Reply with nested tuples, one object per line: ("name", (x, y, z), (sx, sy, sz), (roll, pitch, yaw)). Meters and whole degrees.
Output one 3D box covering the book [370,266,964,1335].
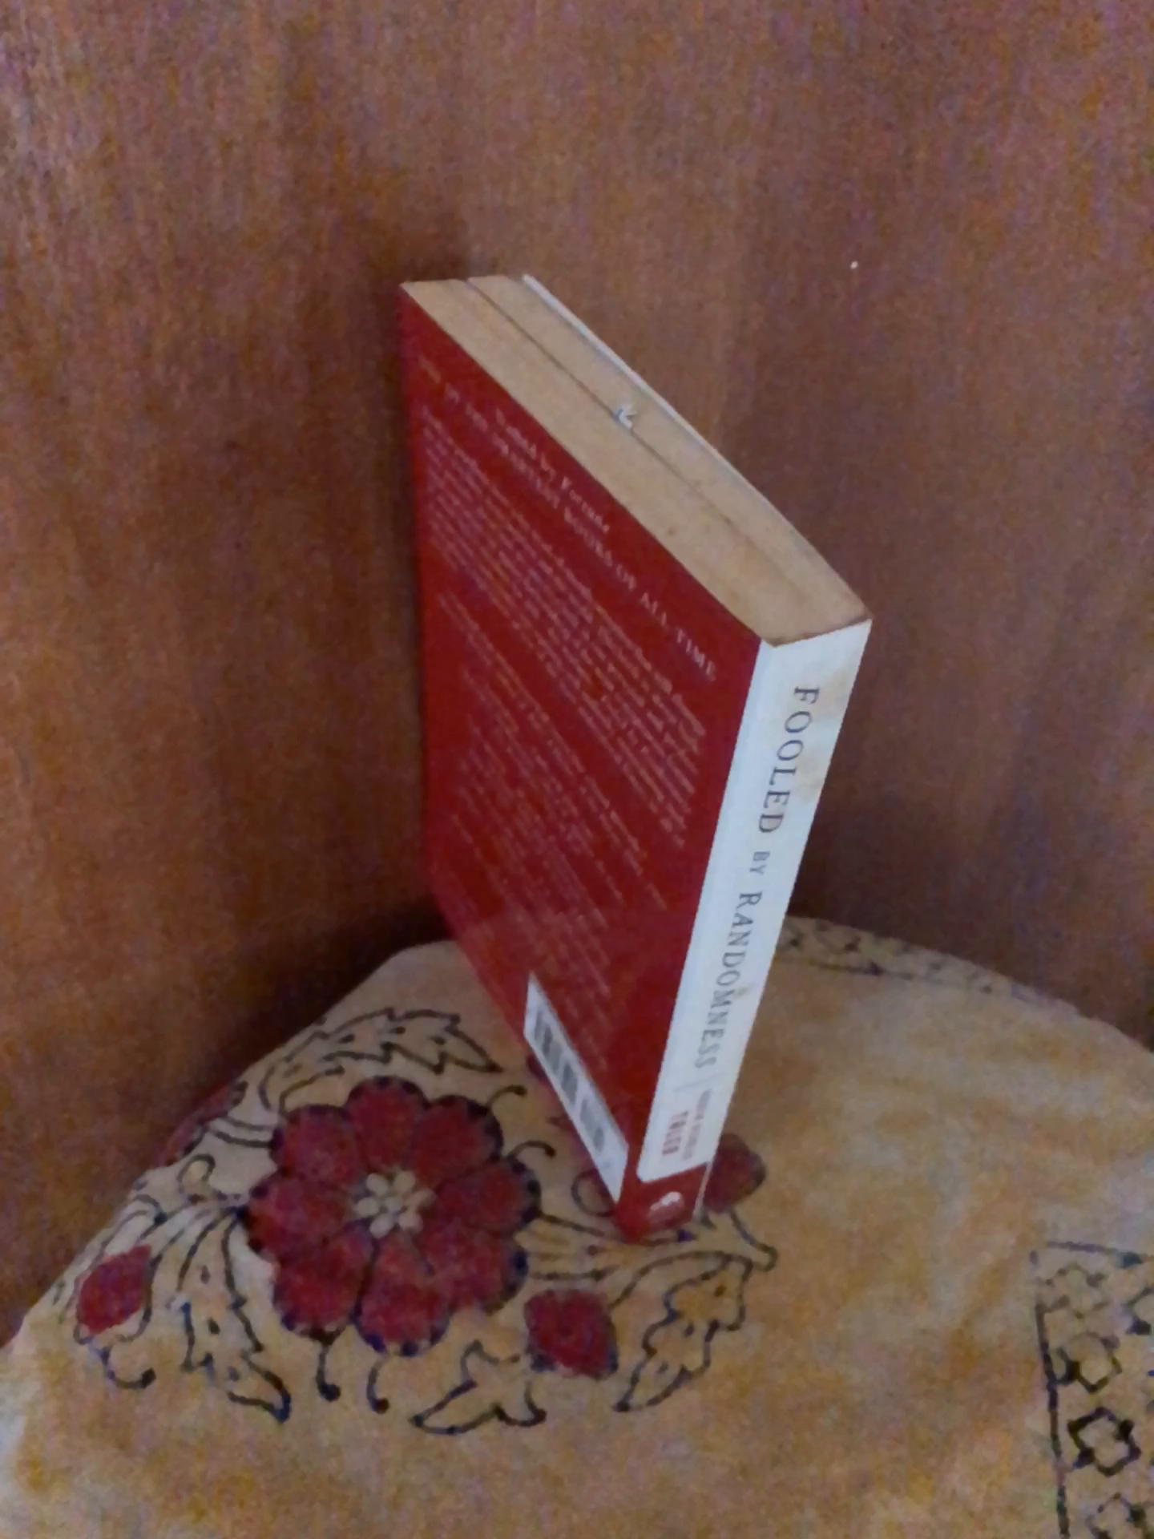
("book", (0.000, 0.007, 0.312), (0.040, 0.199, 0.161), (-15, 42, -23))
